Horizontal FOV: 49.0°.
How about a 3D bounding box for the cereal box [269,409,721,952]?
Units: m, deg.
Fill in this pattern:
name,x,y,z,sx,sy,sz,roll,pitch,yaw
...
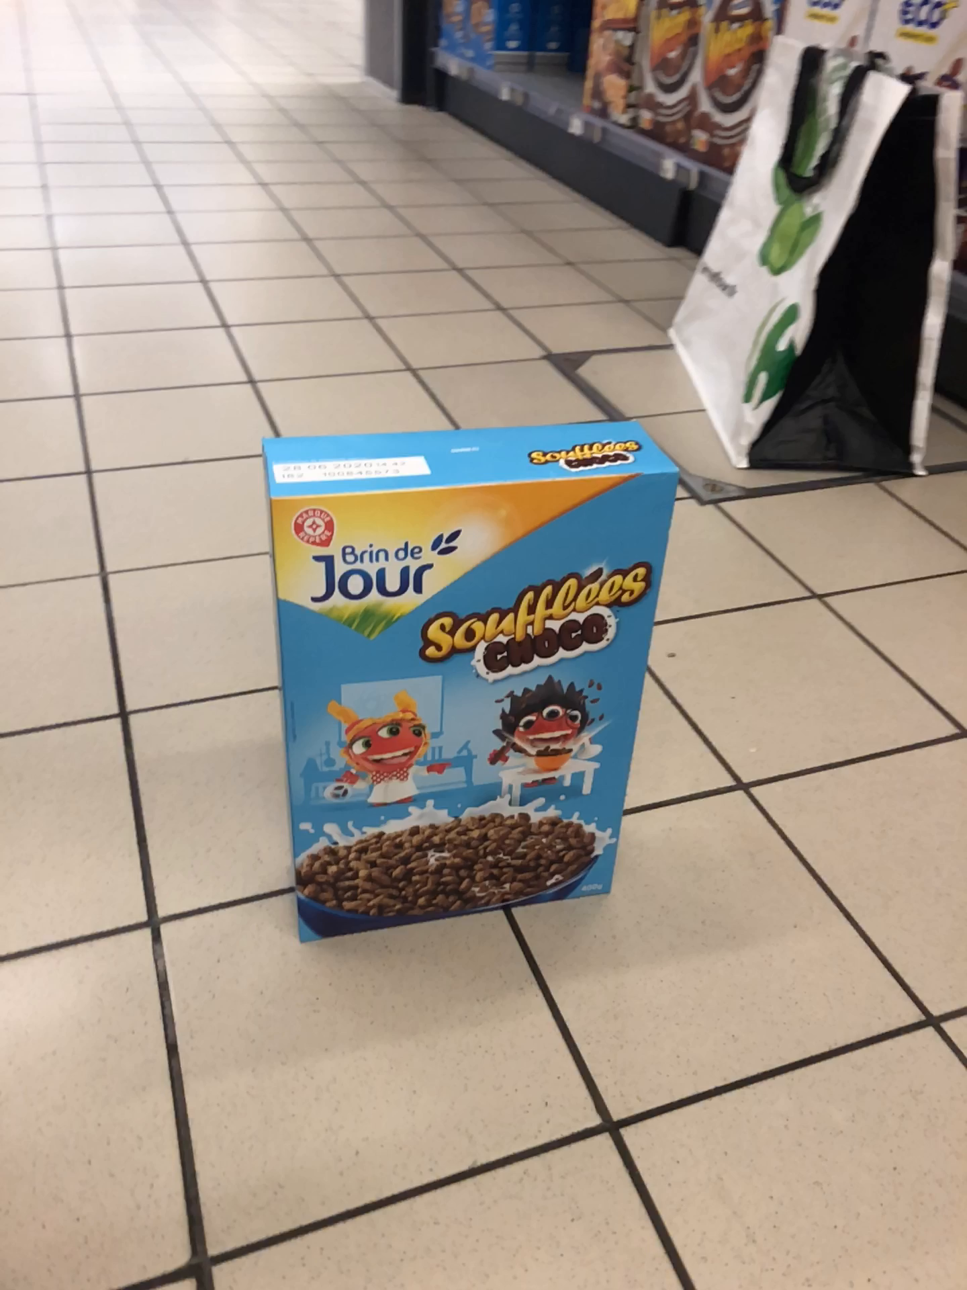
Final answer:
name,x,y,z,sx,sy,sz,roll,pitch,yaw
cereal box,-0.005,0.026,0.581,0.200,0.288,0.080,-5,35,-13
